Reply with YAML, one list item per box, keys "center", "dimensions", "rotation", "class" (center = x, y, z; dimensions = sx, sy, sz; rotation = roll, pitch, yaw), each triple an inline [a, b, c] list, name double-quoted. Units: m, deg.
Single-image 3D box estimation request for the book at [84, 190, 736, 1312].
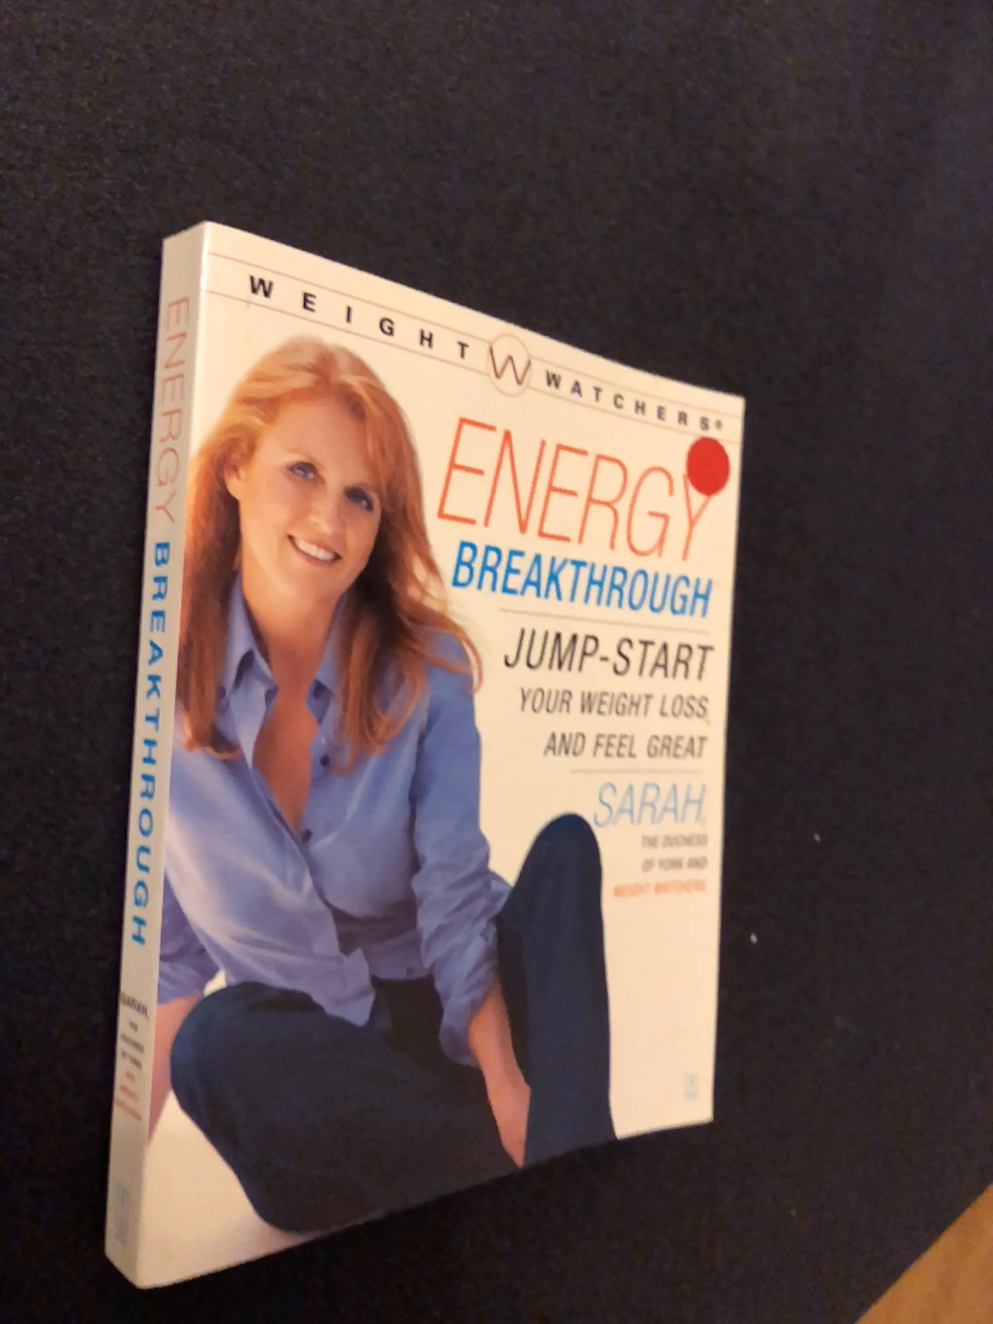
- center: [-0.008, 0.022, 0.303]
  dimensions: [0.186, 0.030, 0.234]
  rotation: [5, 88, -41]
  class: "book"
